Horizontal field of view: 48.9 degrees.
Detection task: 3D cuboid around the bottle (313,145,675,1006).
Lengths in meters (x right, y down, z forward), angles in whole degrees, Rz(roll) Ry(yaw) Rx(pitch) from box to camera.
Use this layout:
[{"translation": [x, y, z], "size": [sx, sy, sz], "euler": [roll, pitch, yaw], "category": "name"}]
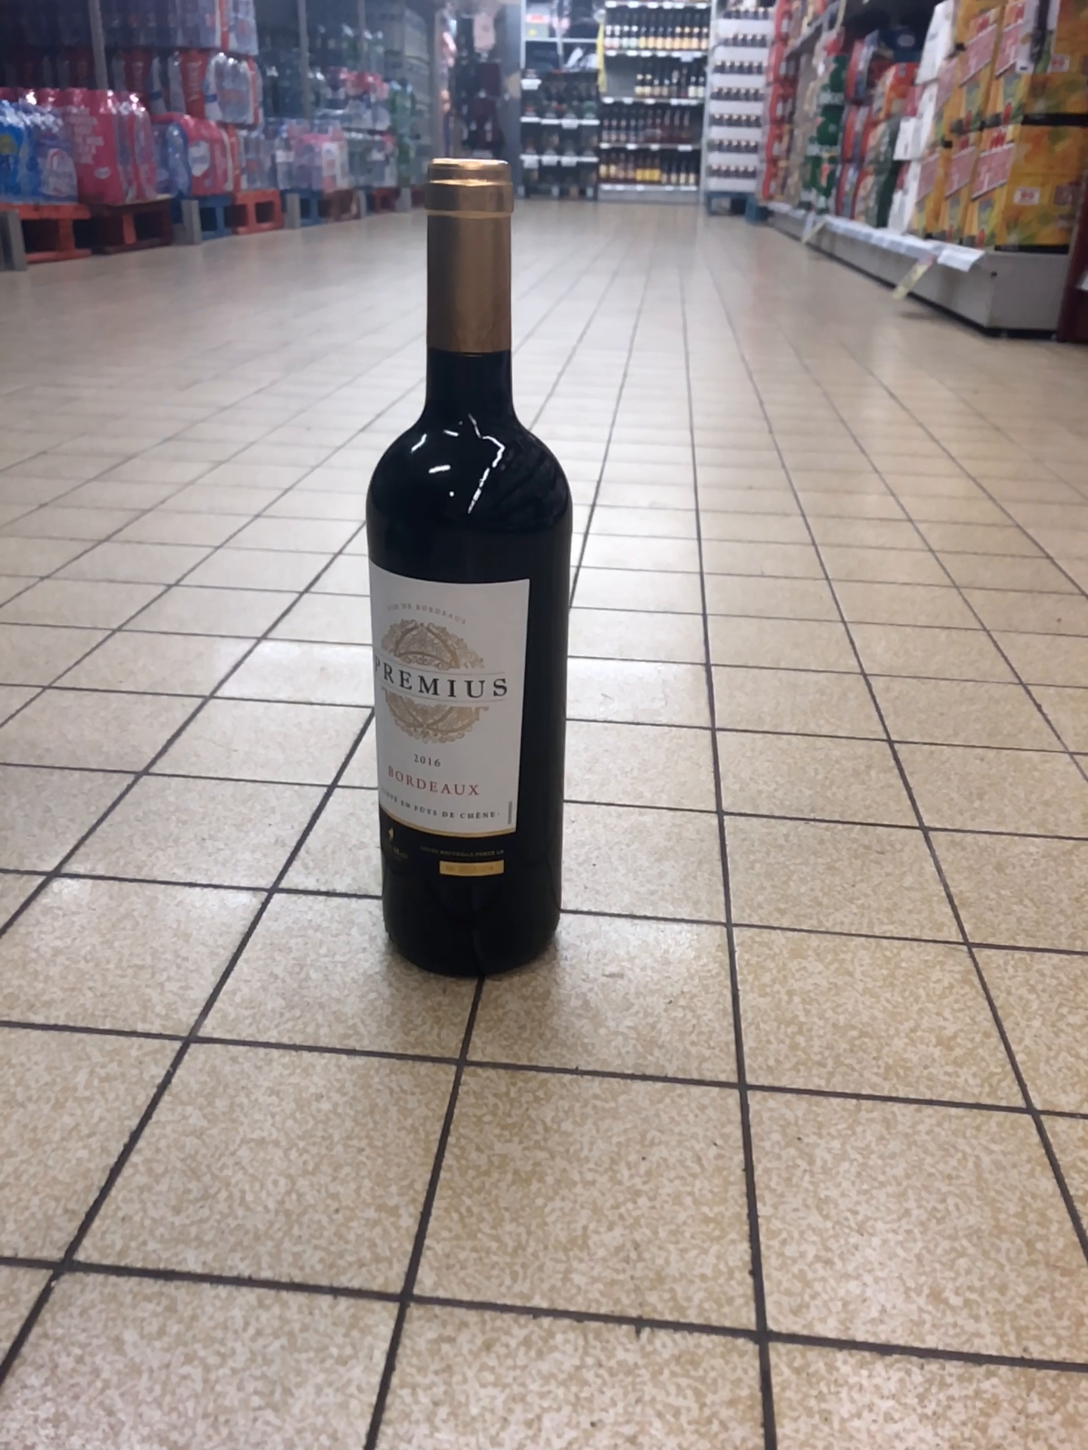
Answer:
[{"translation": [-0.017, -0.050, 0.438], "size": [0.090, 0.288, 0.081], "euler": [11, 25, 20], "category": "bottle"}]
